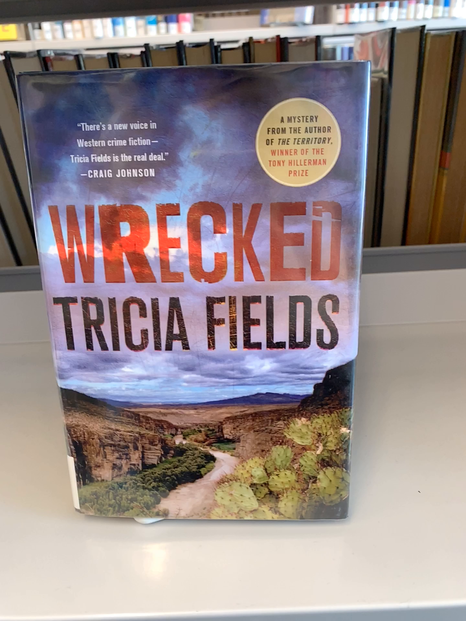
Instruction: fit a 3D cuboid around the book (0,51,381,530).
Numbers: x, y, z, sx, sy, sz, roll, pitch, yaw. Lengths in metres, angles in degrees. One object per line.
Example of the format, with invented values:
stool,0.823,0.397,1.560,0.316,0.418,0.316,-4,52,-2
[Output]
book,-0.015,0.003,0.231,0.150,0.213,0.034,-1,17,4
